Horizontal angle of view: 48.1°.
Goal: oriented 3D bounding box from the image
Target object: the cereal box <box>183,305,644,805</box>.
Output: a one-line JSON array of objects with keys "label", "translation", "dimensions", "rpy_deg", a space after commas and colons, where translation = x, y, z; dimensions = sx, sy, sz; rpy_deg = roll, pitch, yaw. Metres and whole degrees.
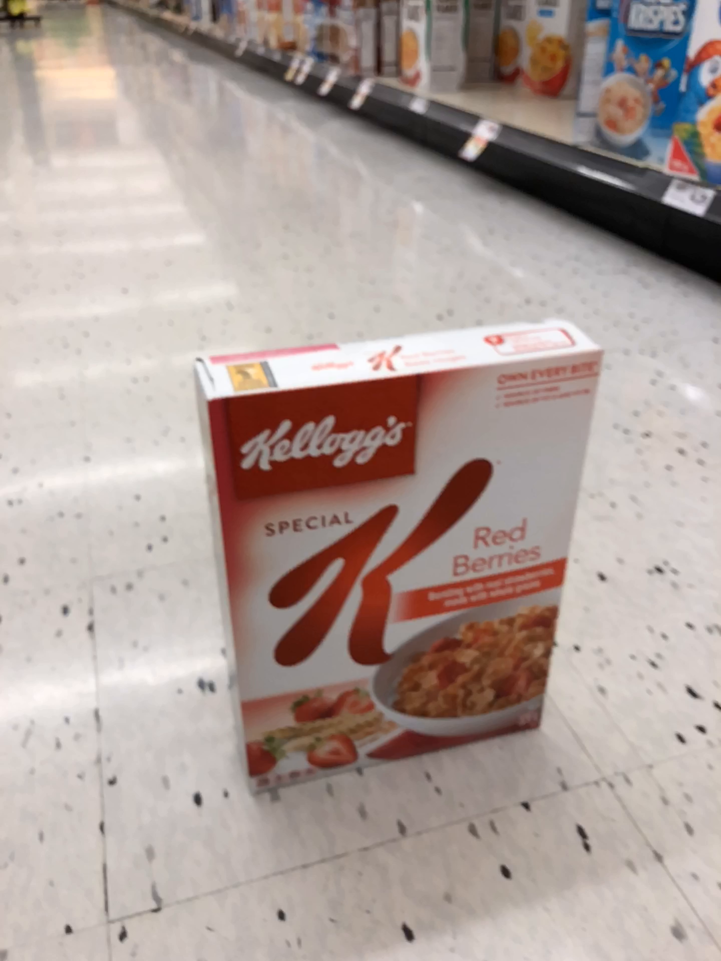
[{"label": "cereal box", "translation": [0.025, 0.047, 0.449], "dimensions": [0.210, 0.258, 0.060], "rpy_deg": [-8, 32, -14]}]
